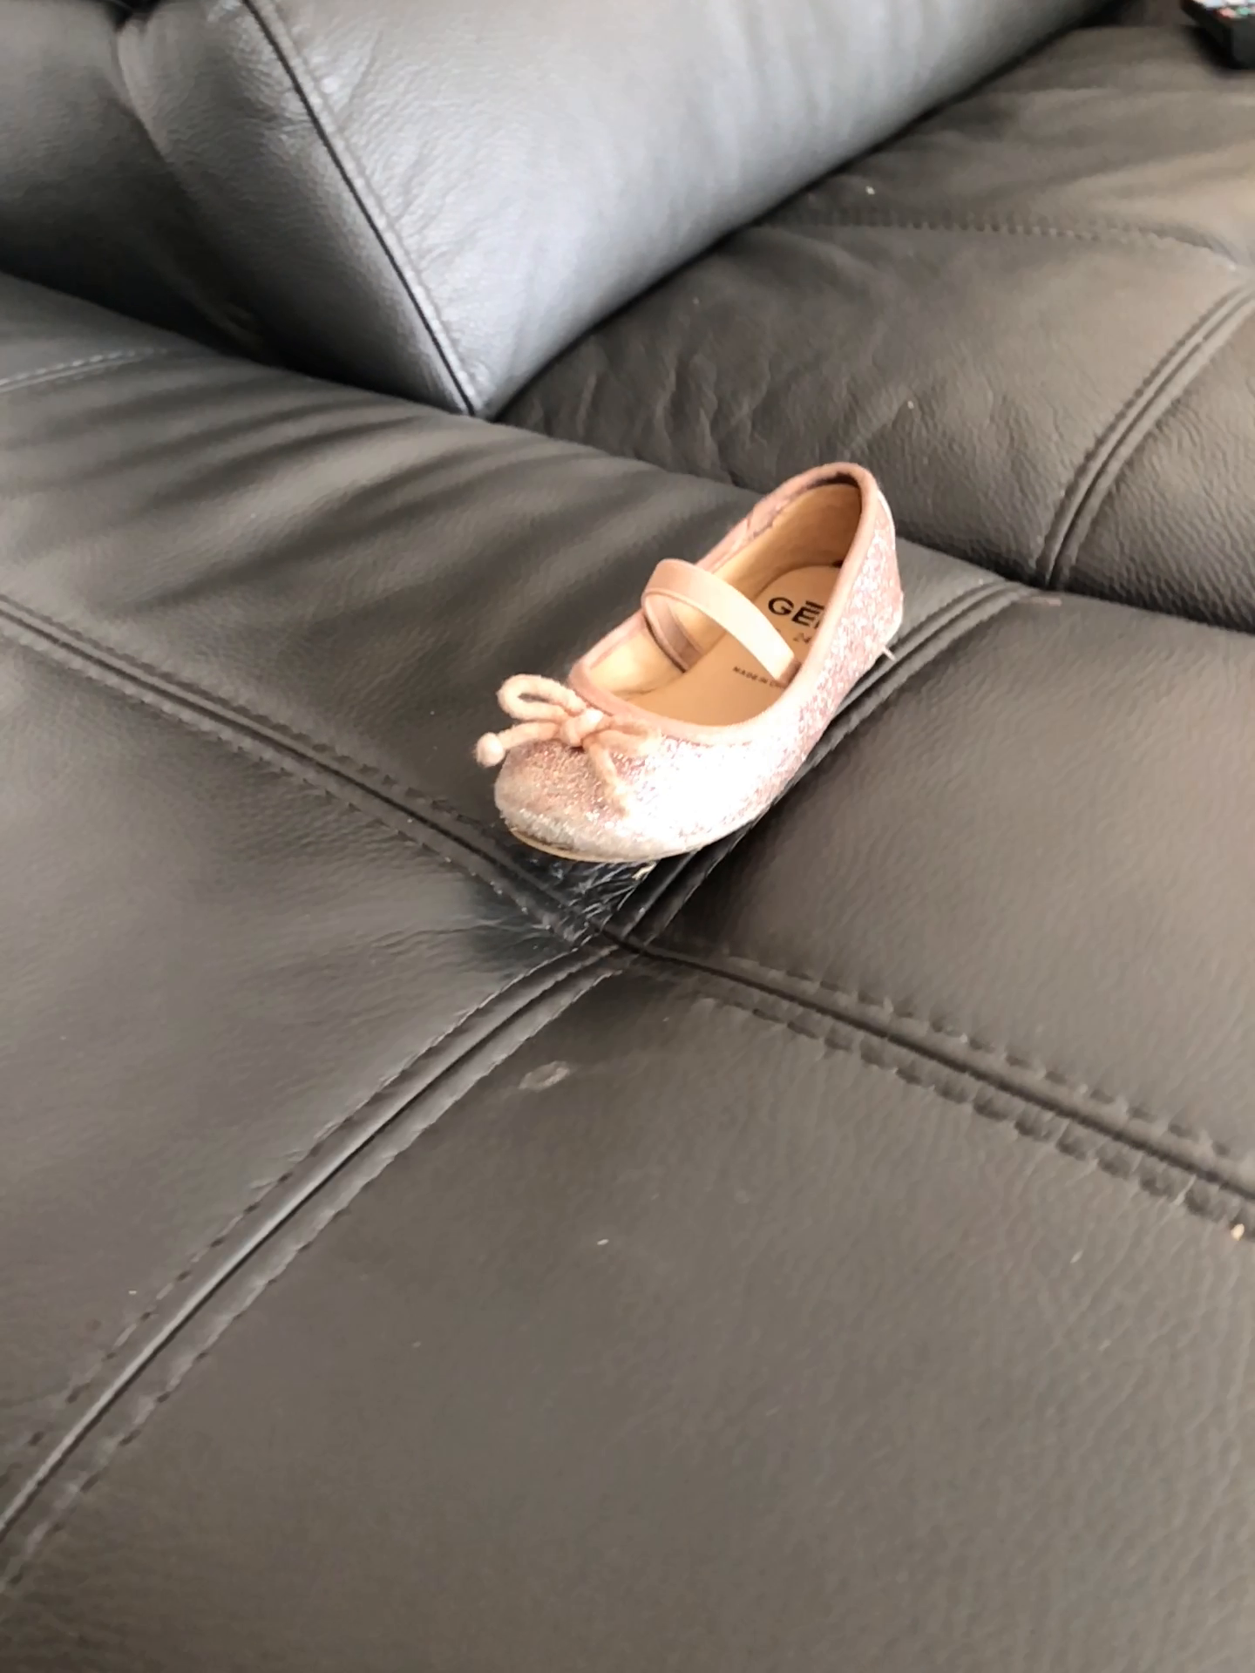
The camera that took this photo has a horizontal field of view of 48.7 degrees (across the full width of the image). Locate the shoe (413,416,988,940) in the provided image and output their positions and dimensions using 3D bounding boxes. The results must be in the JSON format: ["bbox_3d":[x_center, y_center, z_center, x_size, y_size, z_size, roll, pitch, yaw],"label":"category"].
[{"bbox_3d":[0.026,-0.051,0.364,0.070,0.040,0.161,23,50,27],"label":"shoe"}]
